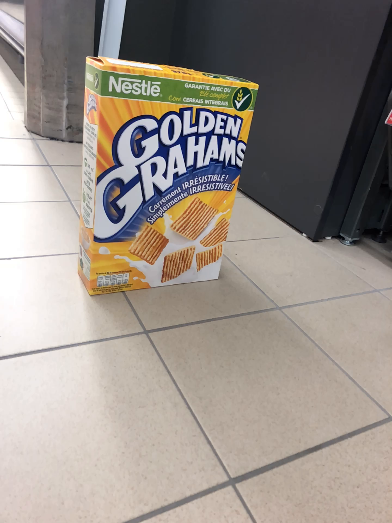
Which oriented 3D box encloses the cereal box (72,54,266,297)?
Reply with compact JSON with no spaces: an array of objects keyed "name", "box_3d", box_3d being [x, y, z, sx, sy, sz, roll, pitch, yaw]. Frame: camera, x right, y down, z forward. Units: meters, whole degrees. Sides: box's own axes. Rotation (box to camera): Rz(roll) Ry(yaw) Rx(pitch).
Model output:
[{"name":"cereal box","box_3d":[-0.044,-0.099,0.546,0.201,0.268,0.070,-6,32,-28]}]
